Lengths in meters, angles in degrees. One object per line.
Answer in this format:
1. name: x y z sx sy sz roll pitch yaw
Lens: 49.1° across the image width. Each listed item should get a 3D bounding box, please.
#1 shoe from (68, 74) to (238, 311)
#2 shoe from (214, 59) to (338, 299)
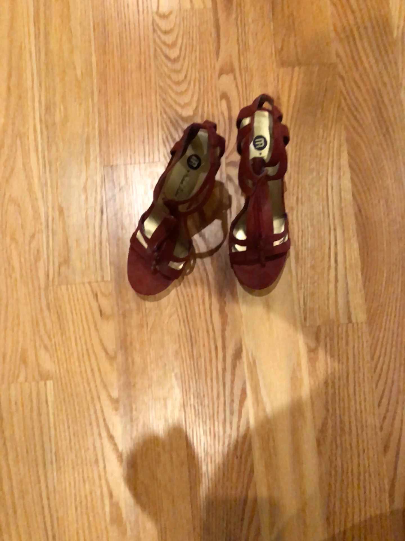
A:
1. shoe: -0.043 -0.065 0.487 0.085 0.176 0.199 21 85 2
2. shoe: 0.067 -0.079 0.484 0.085 0.176 0.206 -6 84 0
